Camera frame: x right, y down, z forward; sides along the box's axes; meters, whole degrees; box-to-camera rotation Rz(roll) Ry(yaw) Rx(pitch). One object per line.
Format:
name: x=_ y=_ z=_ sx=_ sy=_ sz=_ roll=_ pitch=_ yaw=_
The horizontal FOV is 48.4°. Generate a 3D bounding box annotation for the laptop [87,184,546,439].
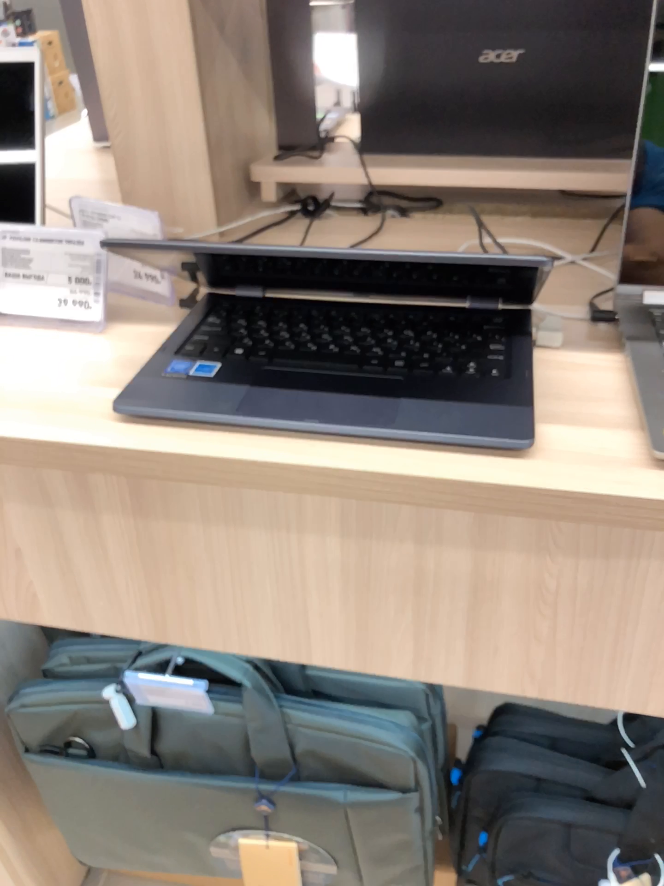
laptop: x=0.005 y=-0.106 z=0.525 sx=0.271 sy=0.097 sz=0.186 roll=5 pitch=35 yaw=11
